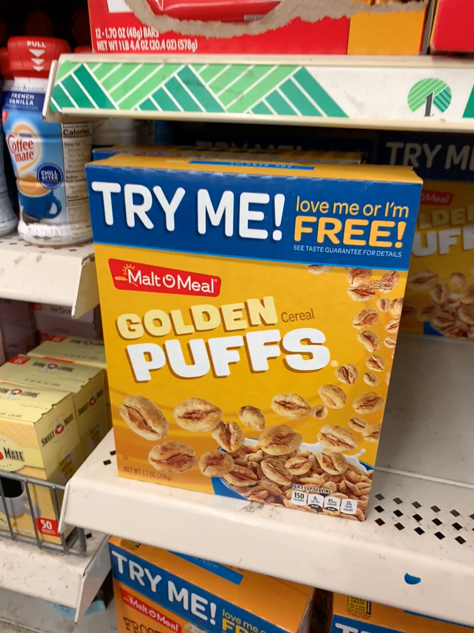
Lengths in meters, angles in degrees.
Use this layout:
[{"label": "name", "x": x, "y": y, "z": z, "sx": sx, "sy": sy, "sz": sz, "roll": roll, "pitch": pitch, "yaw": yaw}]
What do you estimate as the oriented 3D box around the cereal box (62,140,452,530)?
[{"label": "cereal box", "x": 0.007, "y": 0.012, "z": 0.309, "sx": 0.190, "sy": 0.219, "sz": 0.060, "roll": 6, "pitch": 25, "yaw": 11}]
